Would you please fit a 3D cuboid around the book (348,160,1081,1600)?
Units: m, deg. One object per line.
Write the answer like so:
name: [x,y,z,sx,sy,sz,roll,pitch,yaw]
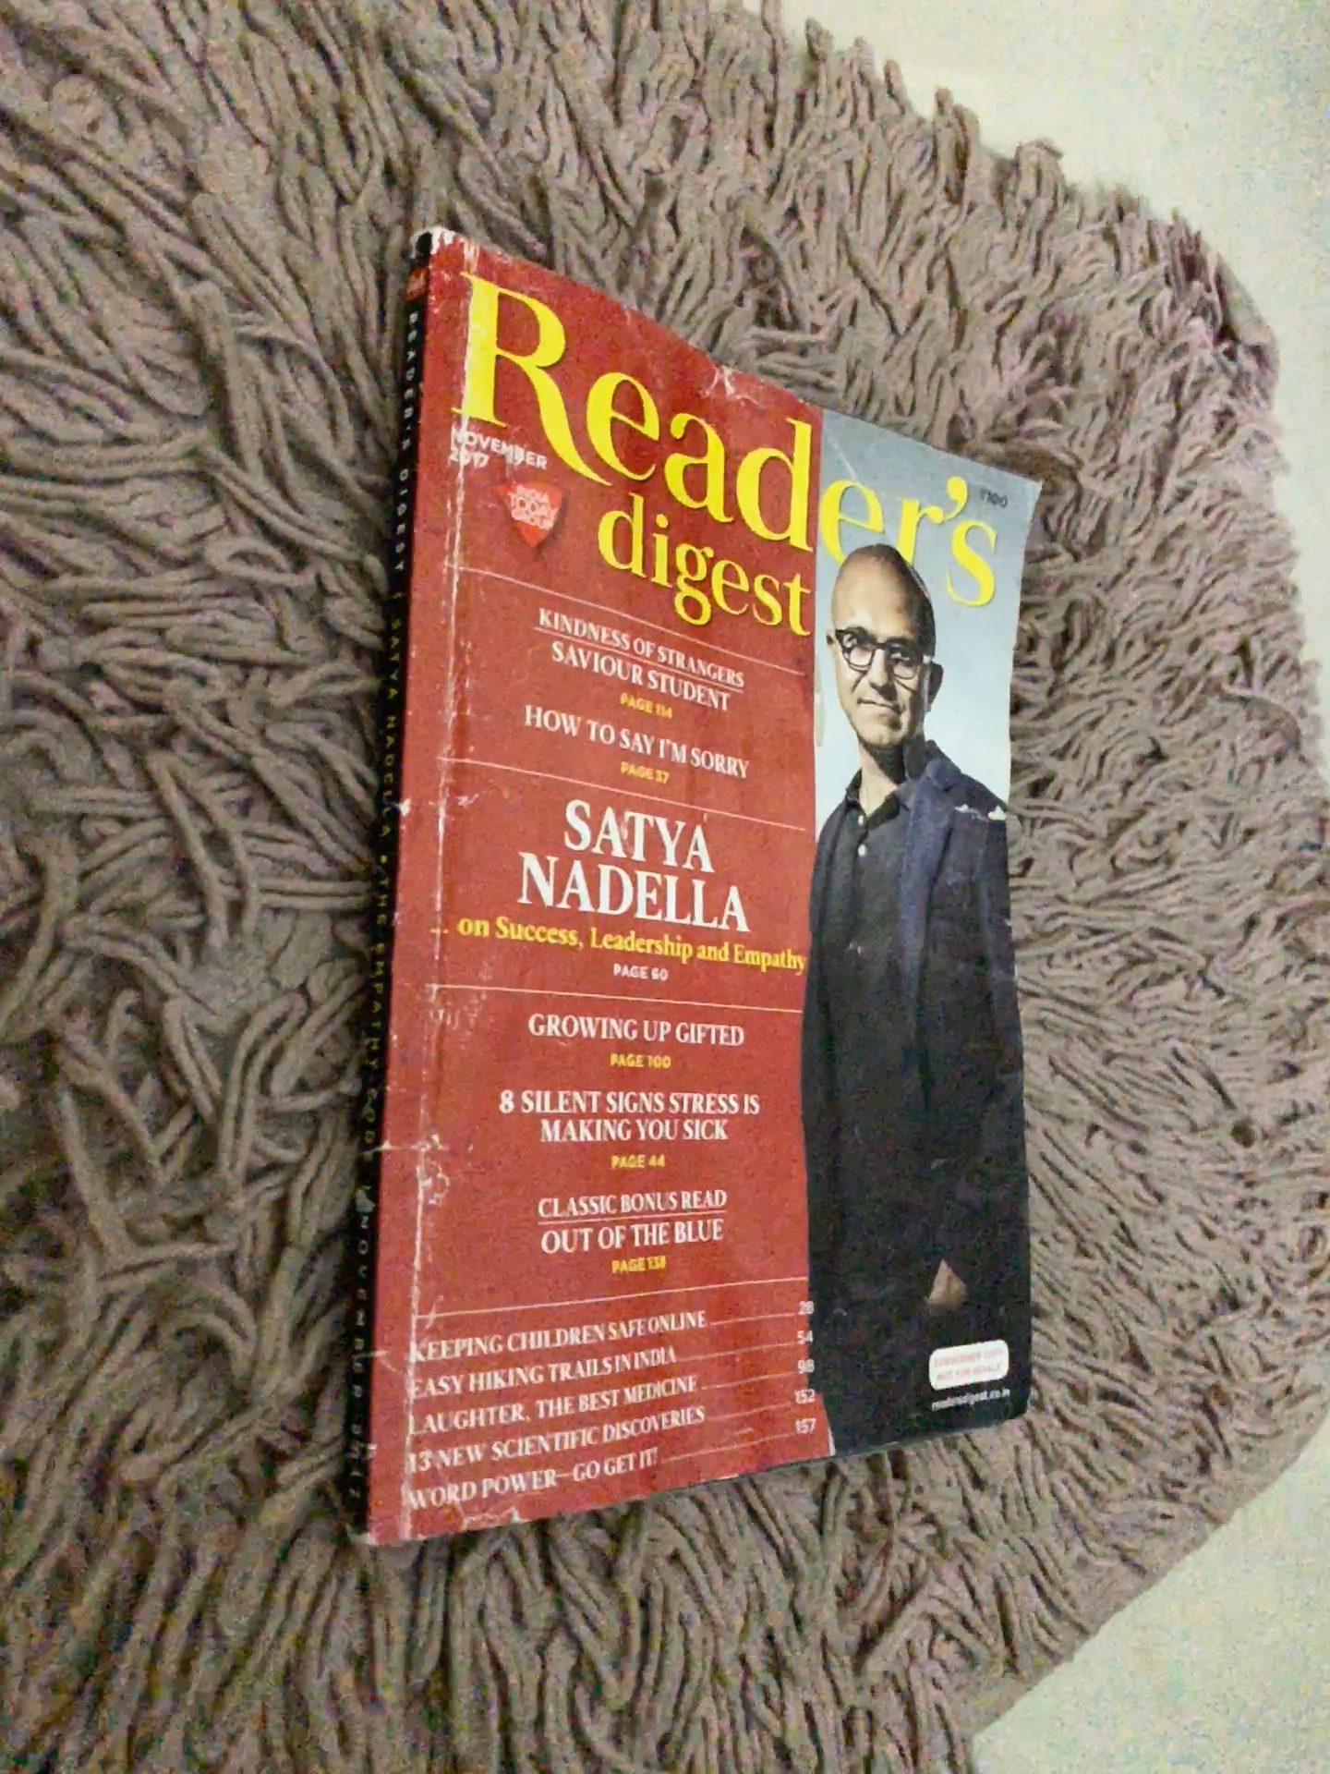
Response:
book: [0.015,-0.001,0.221,0.131,0.020,0.180,7,78,-40]
